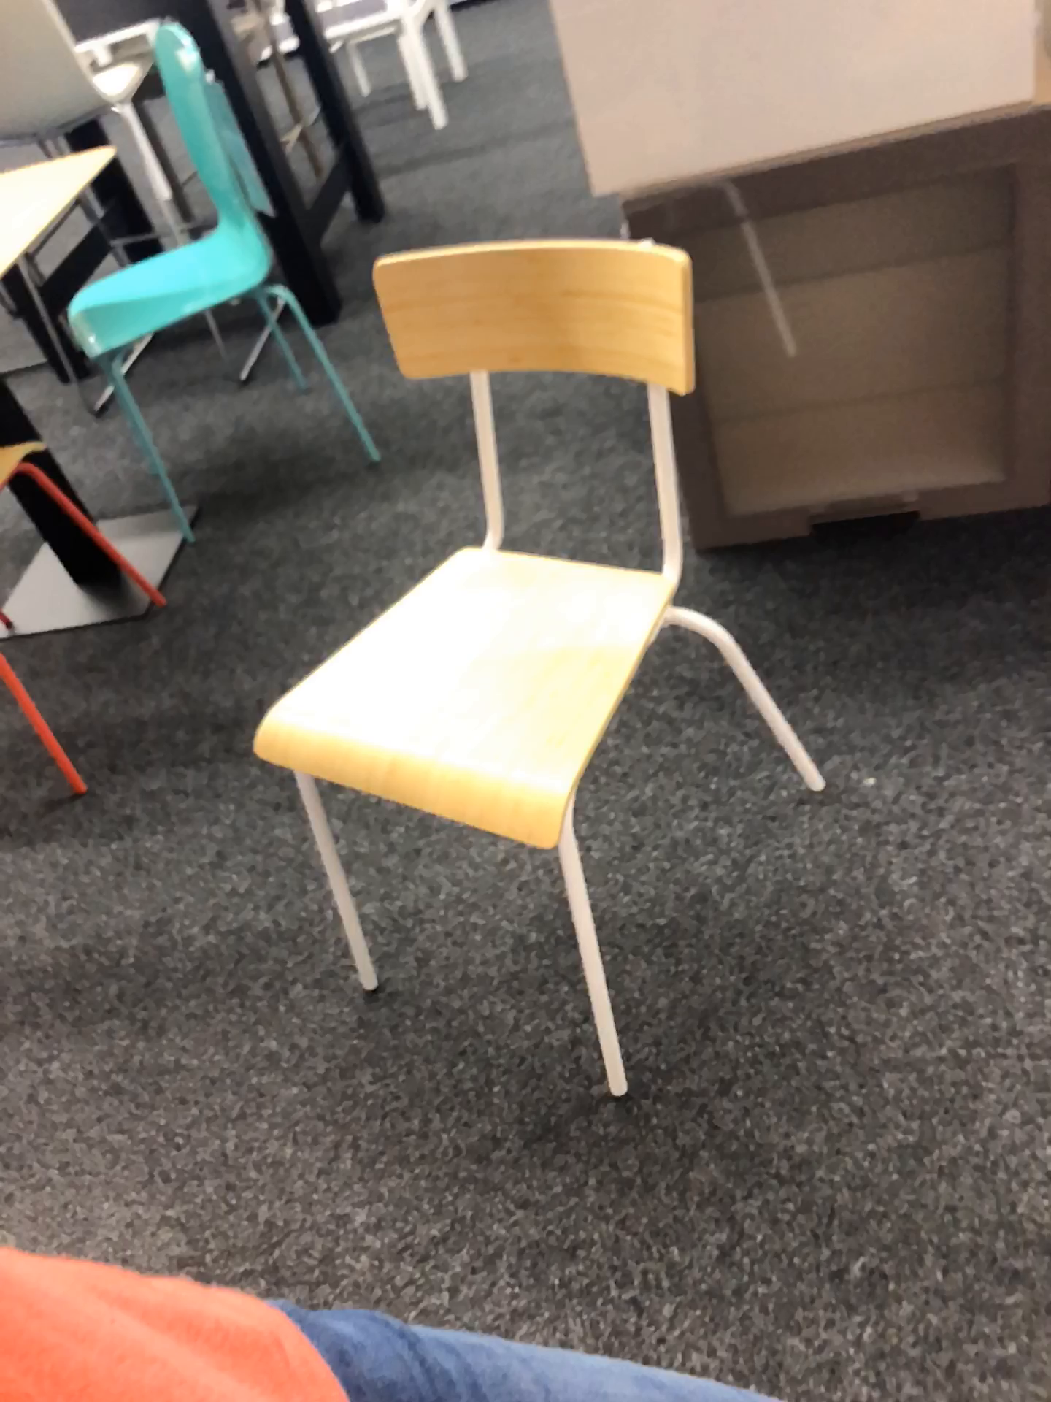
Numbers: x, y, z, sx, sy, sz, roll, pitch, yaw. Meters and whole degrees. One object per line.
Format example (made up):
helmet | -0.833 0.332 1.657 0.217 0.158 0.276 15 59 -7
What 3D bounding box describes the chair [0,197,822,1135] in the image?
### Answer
chair | -0.053 -0.038 1.351 0.540 0.816 0.583 11 50 31
